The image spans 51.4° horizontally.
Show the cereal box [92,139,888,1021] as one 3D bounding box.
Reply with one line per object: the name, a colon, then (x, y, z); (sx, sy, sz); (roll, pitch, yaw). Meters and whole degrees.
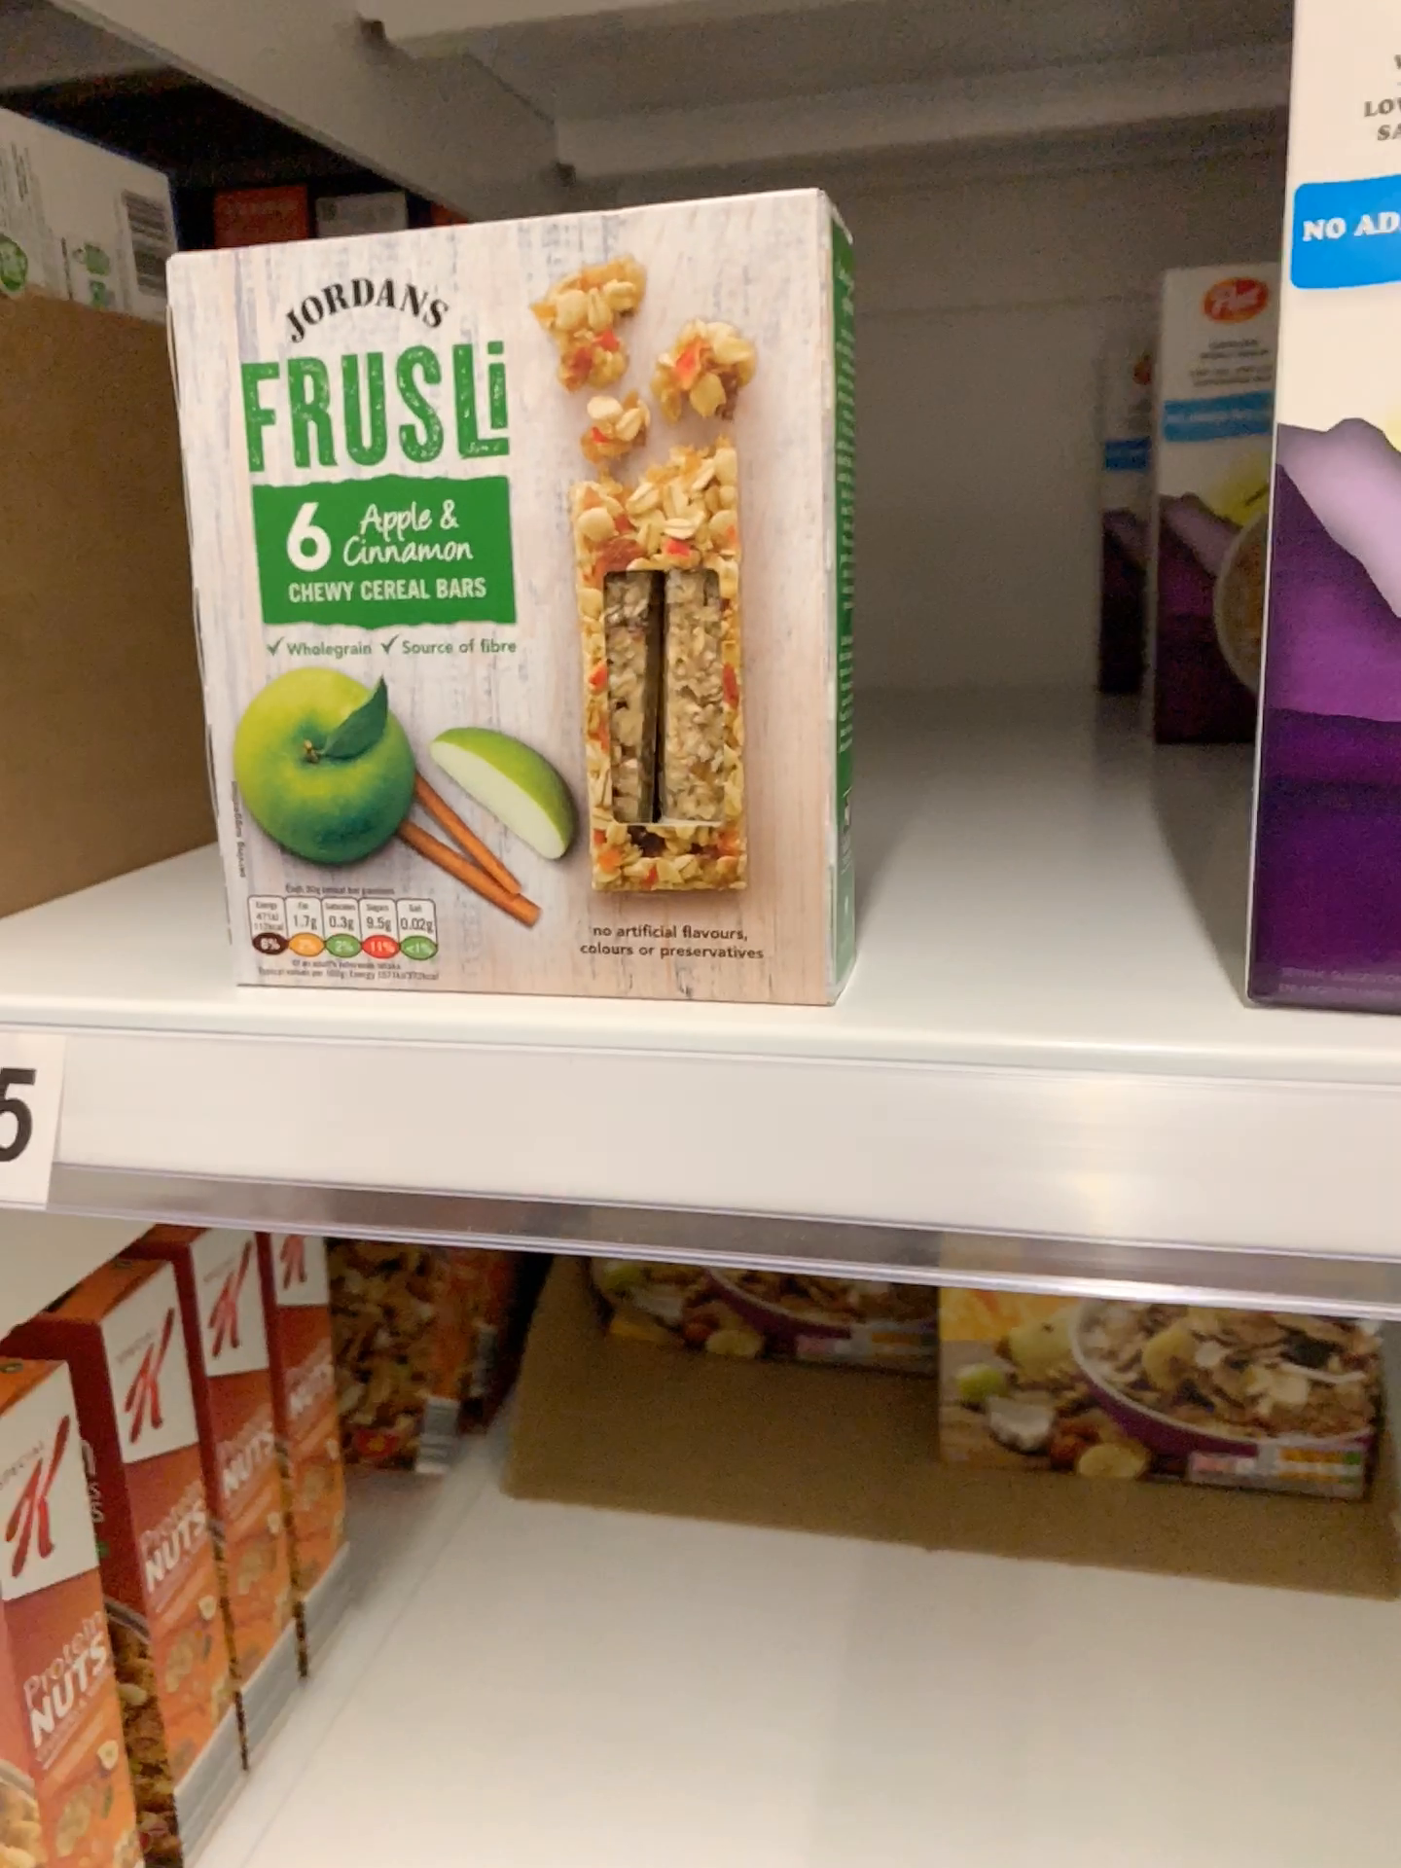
cereal box: (-0.038, -0.068, 0.311); (0.150, 0.159, 0.050); (1, 14, 13)
